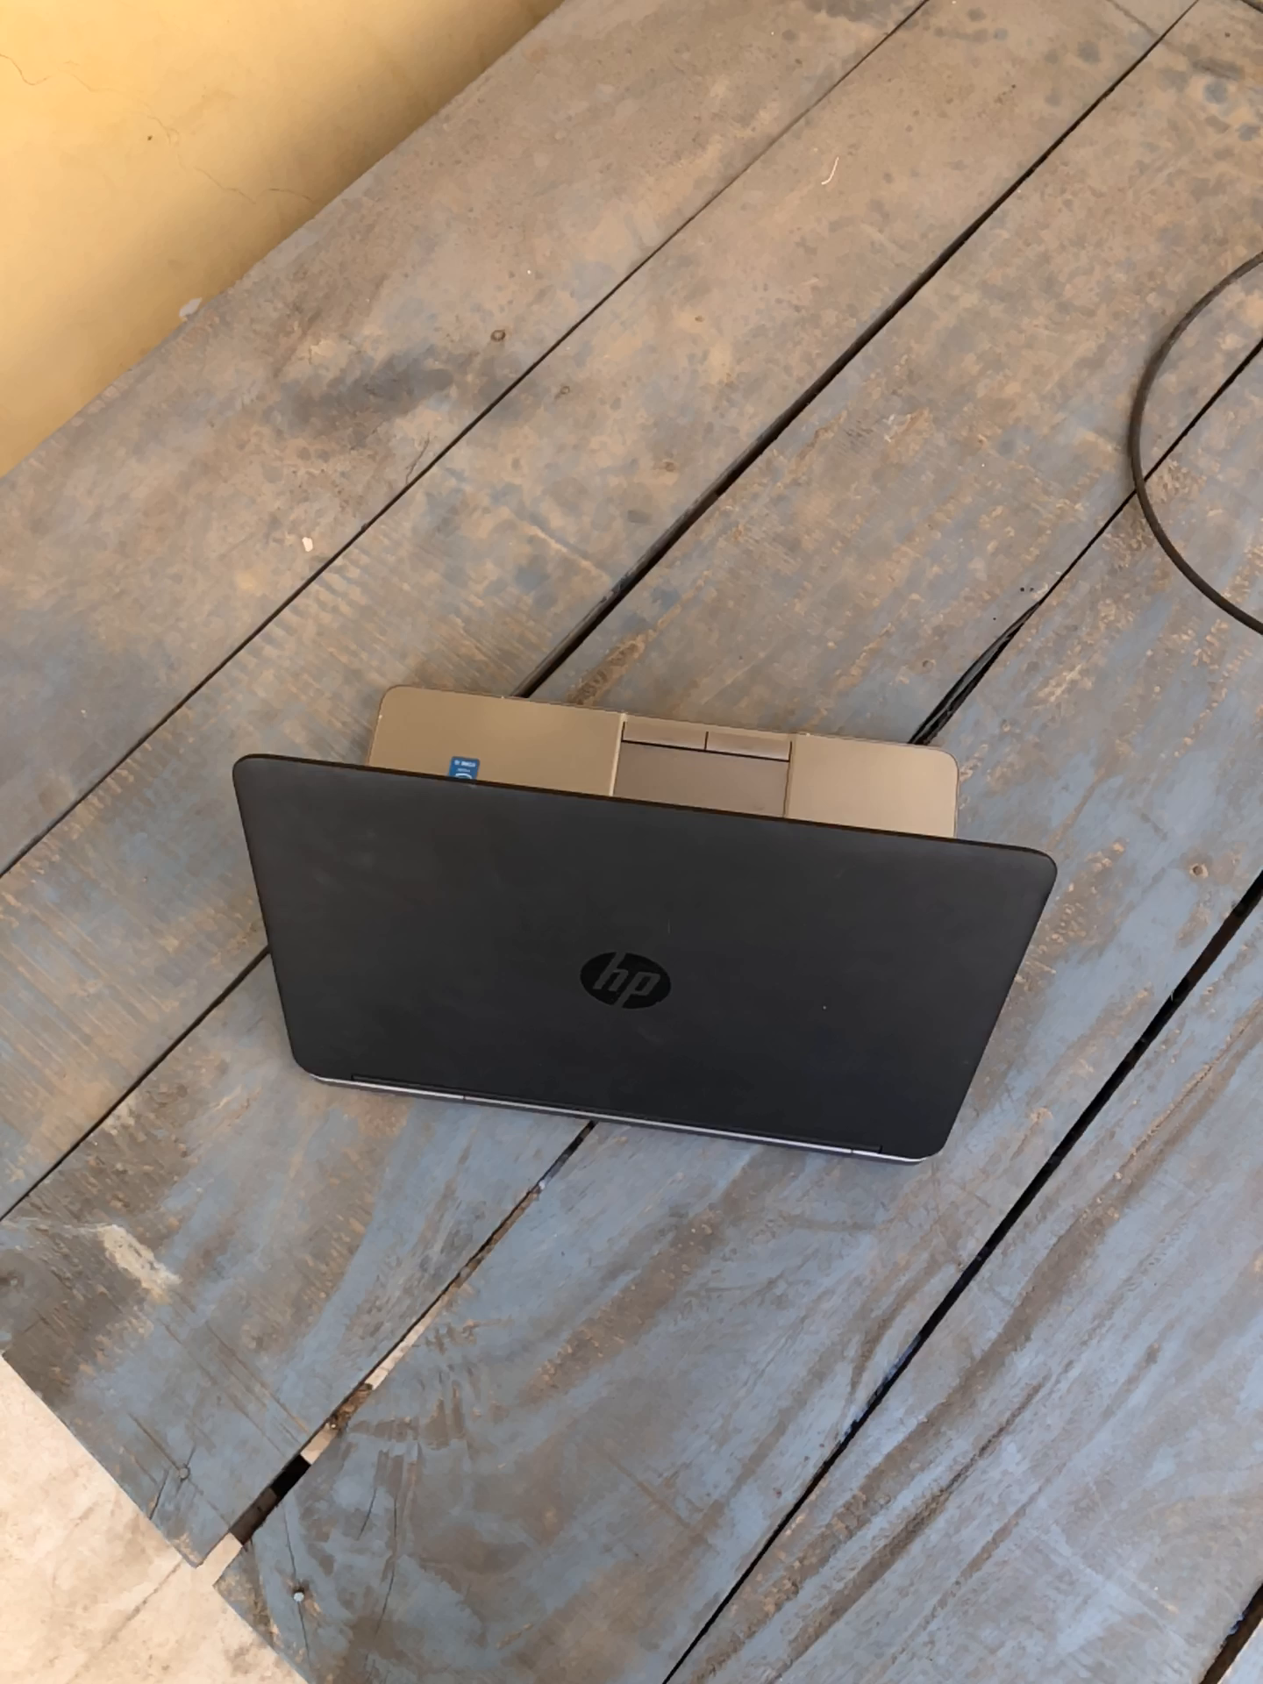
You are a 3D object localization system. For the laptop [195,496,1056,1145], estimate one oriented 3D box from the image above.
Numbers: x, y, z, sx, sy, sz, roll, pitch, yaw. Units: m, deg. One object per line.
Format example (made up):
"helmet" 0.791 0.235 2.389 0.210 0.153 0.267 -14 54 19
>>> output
"laptop" 0.007 0.002 0.647 0.316 0.196 0.210 7 71 3
